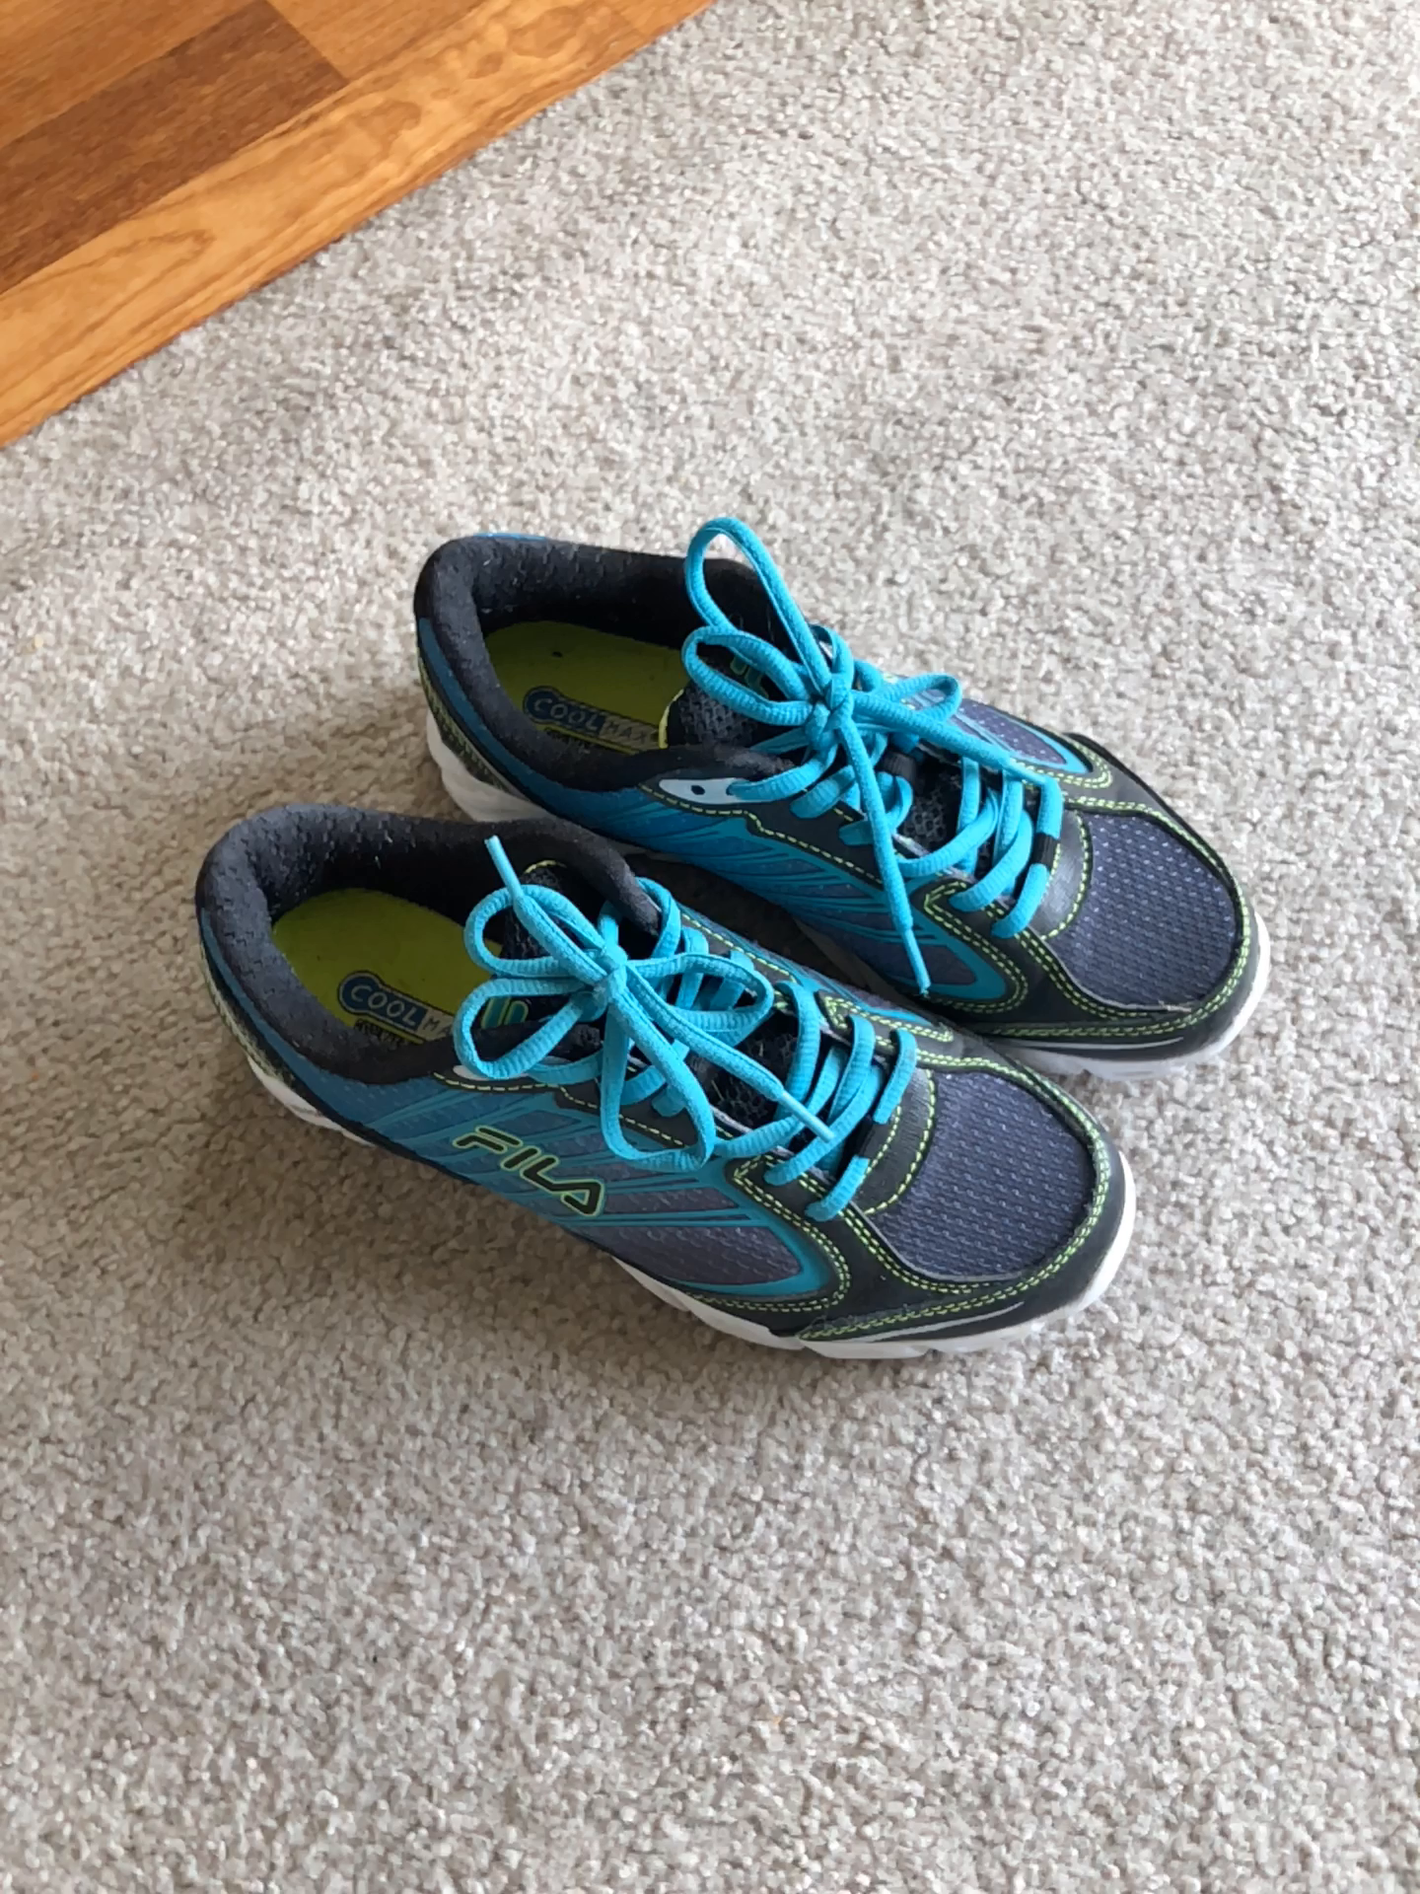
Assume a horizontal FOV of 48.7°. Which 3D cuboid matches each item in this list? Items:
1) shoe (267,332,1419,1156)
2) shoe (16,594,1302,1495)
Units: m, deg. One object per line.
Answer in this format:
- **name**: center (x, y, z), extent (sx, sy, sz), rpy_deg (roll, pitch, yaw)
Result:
- **shoe**: center (0.037, -0.054, 0.440), extent (0.275, 0.119, 0.102), rpy_deg (21, 71, 11)
- **shoe**: center (-0.013, 0.027, 0.406), extent (0.271, 0.119, 0.105), rpy_deg (22, 68, 12)
